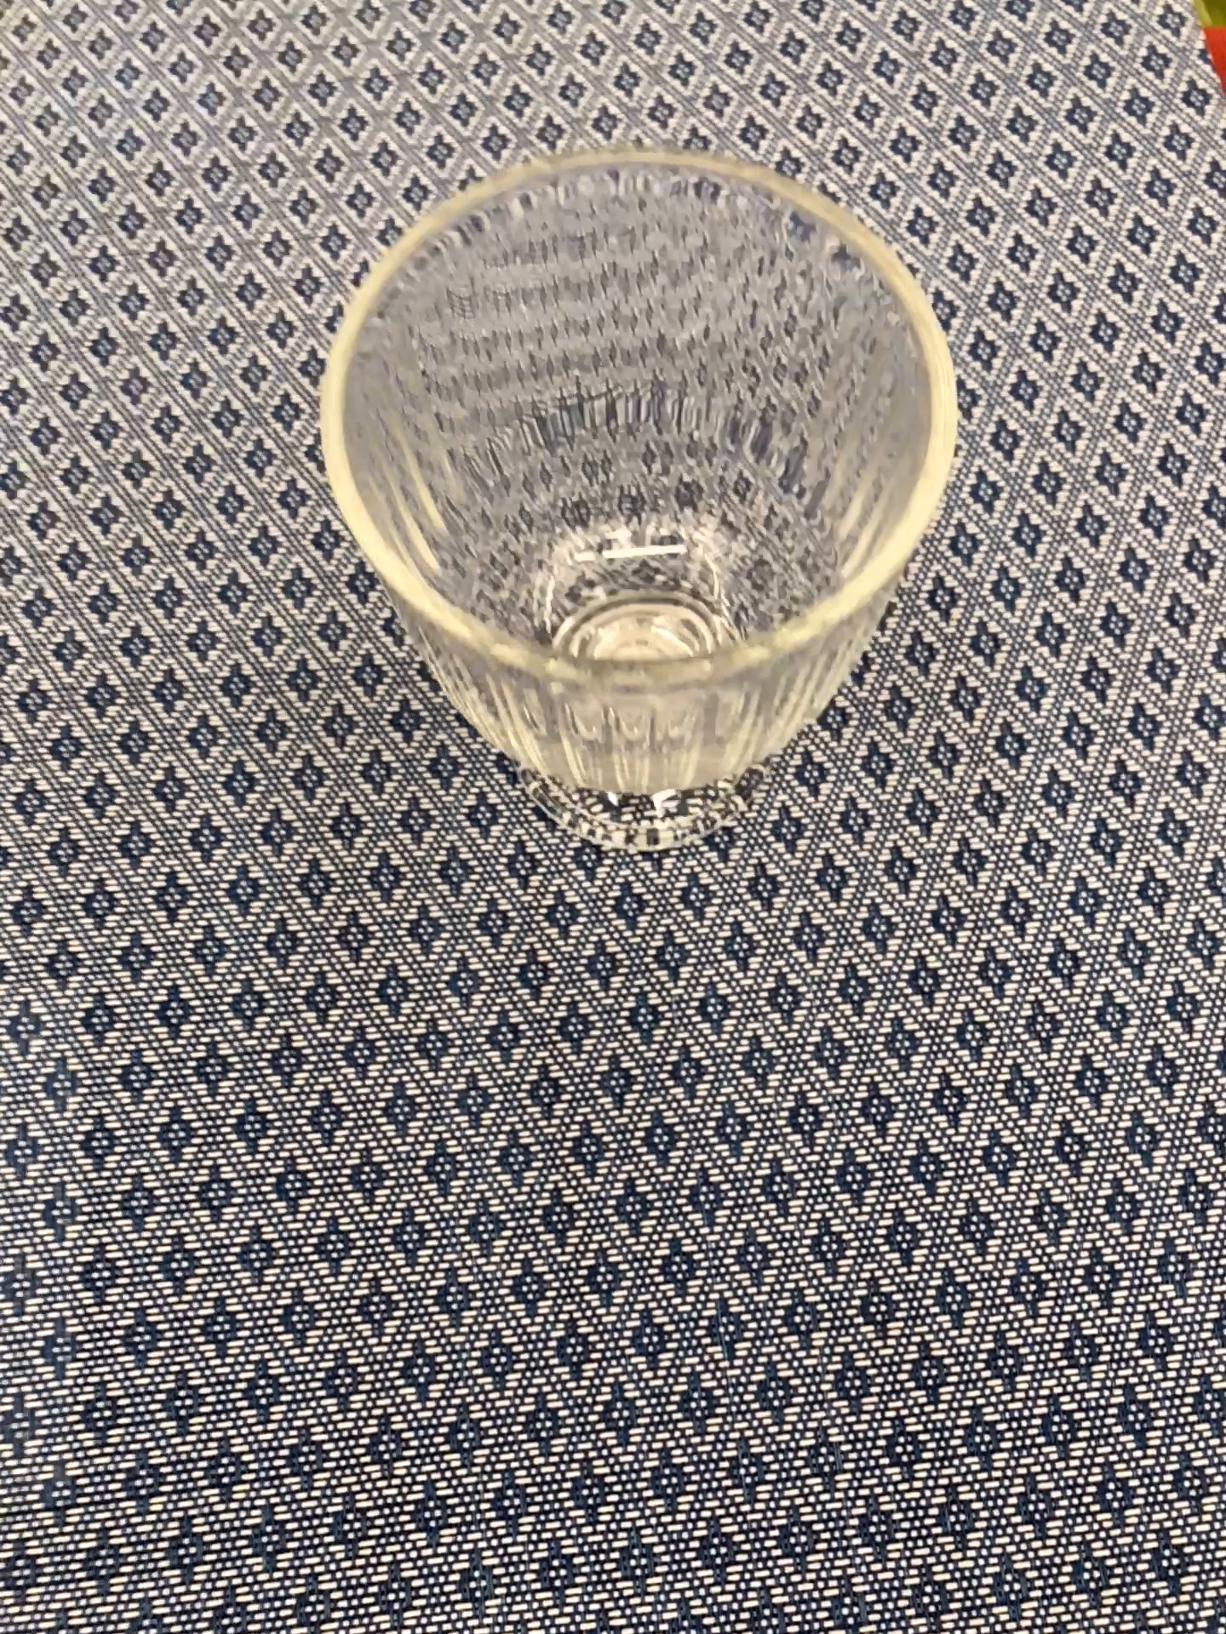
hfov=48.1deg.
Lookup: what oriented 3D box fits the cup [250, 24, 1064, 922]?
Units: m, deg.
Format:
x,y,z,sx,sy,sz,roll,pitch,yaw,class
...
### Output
x,y,z,sx,sy,sz,roll,pitch,yaw,class
0.012,-0.052,0.245,0.100,0.110,0.100,-1,69,3,cup
